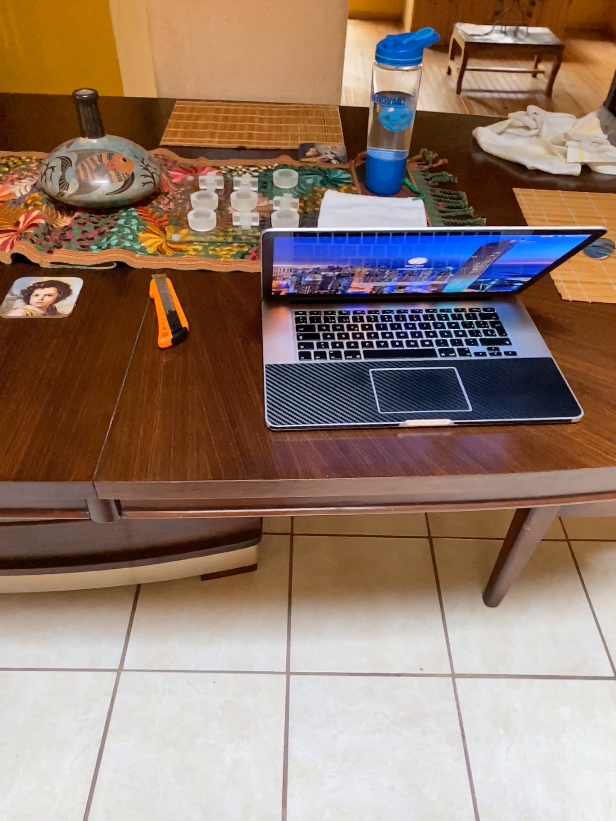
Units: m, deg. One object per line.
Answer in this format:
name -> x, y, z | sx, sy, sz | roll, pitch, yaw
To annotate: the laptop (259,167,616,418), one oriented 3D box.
laptop -> 0.124, -0.143, 0.723 | 0.354, 0.181, 0.237 | -2, 43, -5
